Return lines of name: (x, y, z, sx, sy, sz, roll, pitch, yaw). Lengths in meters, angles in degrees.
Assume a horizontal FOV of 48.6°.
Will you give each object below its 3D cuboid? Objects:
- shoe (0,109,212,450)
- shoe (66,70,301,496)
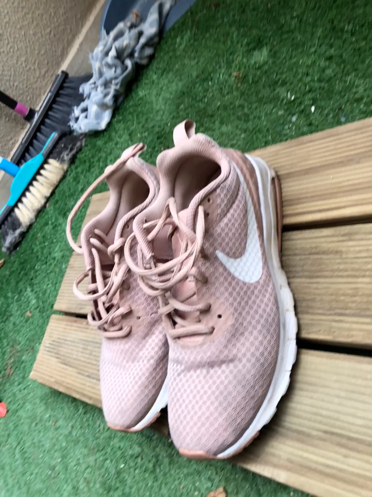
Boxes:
shoe: (-0.064, 0.026, 0.370, 0.111, 0.089, 0.260, -14, 59, 44)
shoe: (0.010, 0.021, 0.303, 0.111, 0.089, 0.260, -16, 57, 43)
